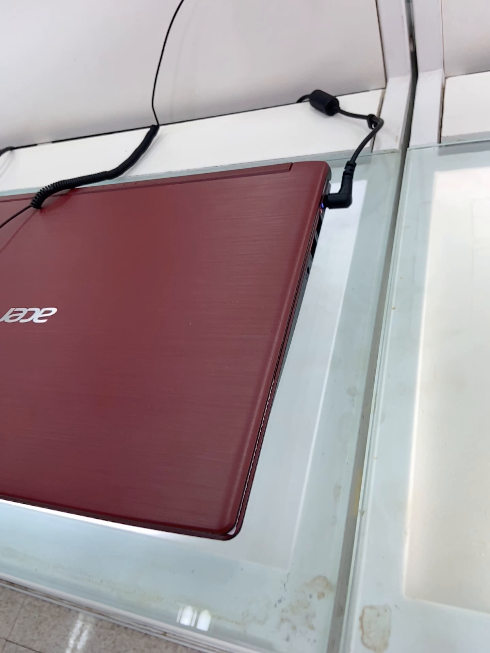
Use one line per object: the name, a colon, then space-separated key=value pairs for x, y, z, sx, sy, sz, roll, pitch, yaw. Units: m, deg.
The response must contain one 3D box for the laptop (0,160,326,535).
laptop: x=-0.145 y=-0.018 z=0.366 sx=0.368 sy=0.006 sz=0.262 roll=1 pitch=52 yaw=24
